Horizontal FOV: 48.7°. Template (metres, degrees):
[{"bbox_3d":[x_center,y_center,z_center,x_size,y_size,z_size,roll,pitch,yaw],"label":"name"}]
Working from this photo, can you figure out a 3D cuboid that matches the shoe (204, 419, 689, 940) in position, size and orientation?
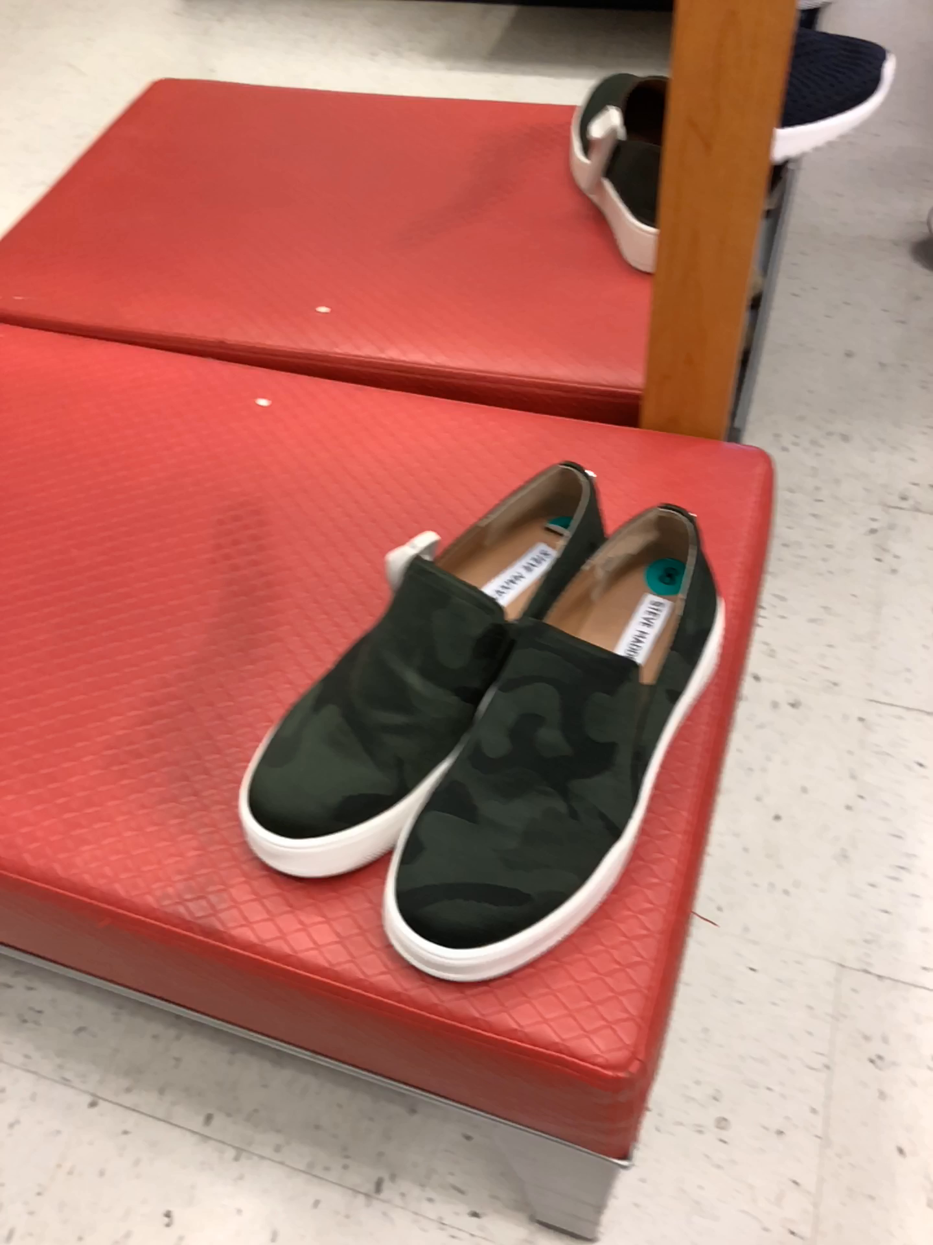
[{"bbox_3d":[0.004,0.017,0.531,0.077,0.086,0.276,30,59,26],"label":"shoe"}]

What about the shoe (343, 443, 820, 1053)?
[{"bbox_3d":[0.067,0.043,0.501,0.105,0.086,0.276,22,56,21],"label":"shoe"}]
